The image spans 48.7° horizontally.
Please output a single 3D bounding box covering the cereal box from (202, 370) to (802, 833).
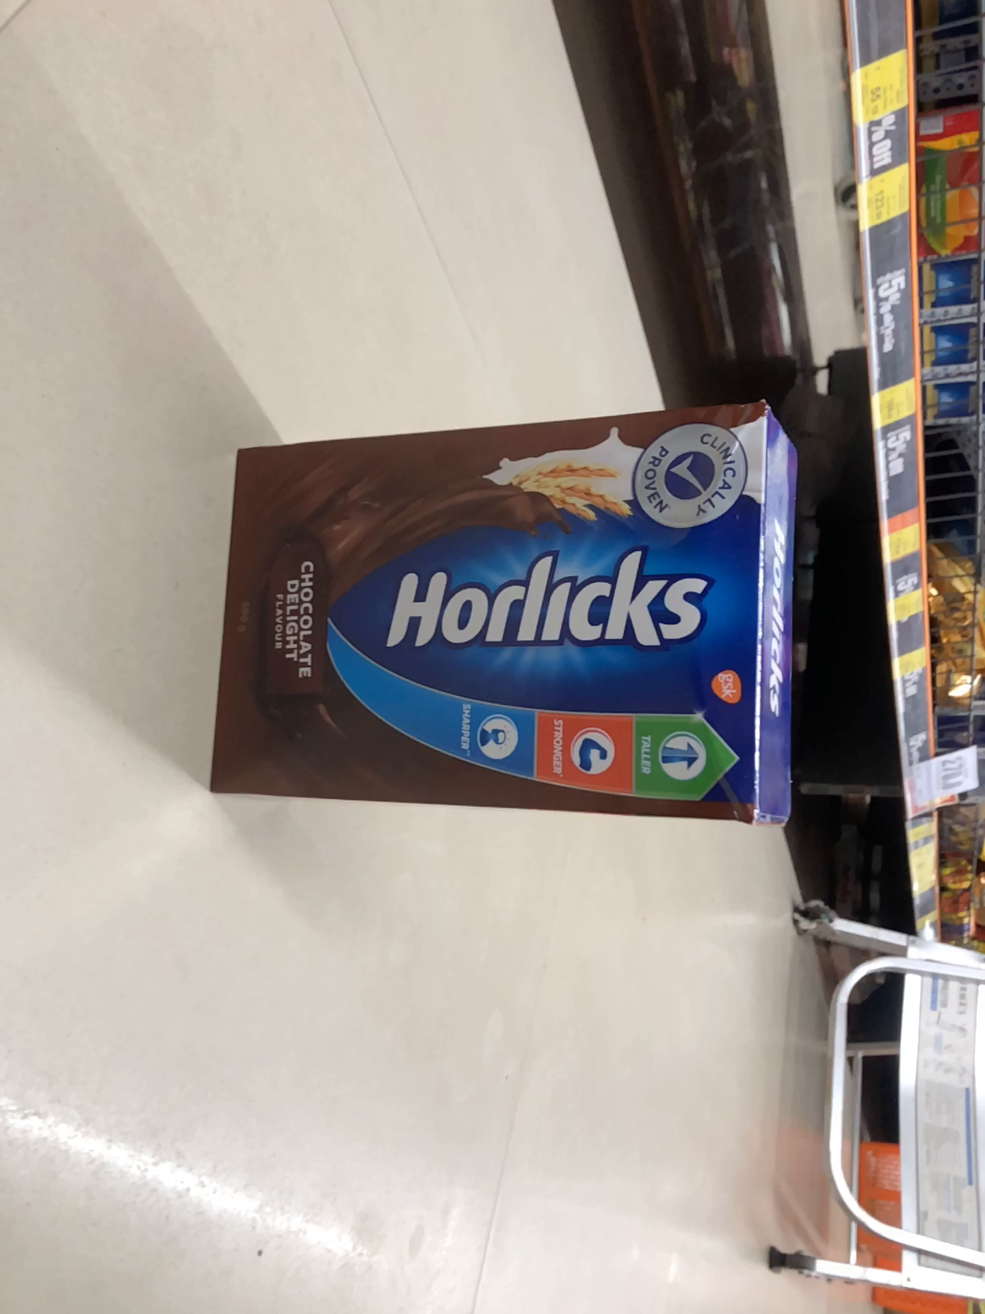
[{"bbox_3d":[0.004,-0.013,0.389,0.060,0.199,0.140,24,68,-66],"label":"cereal box"}]
